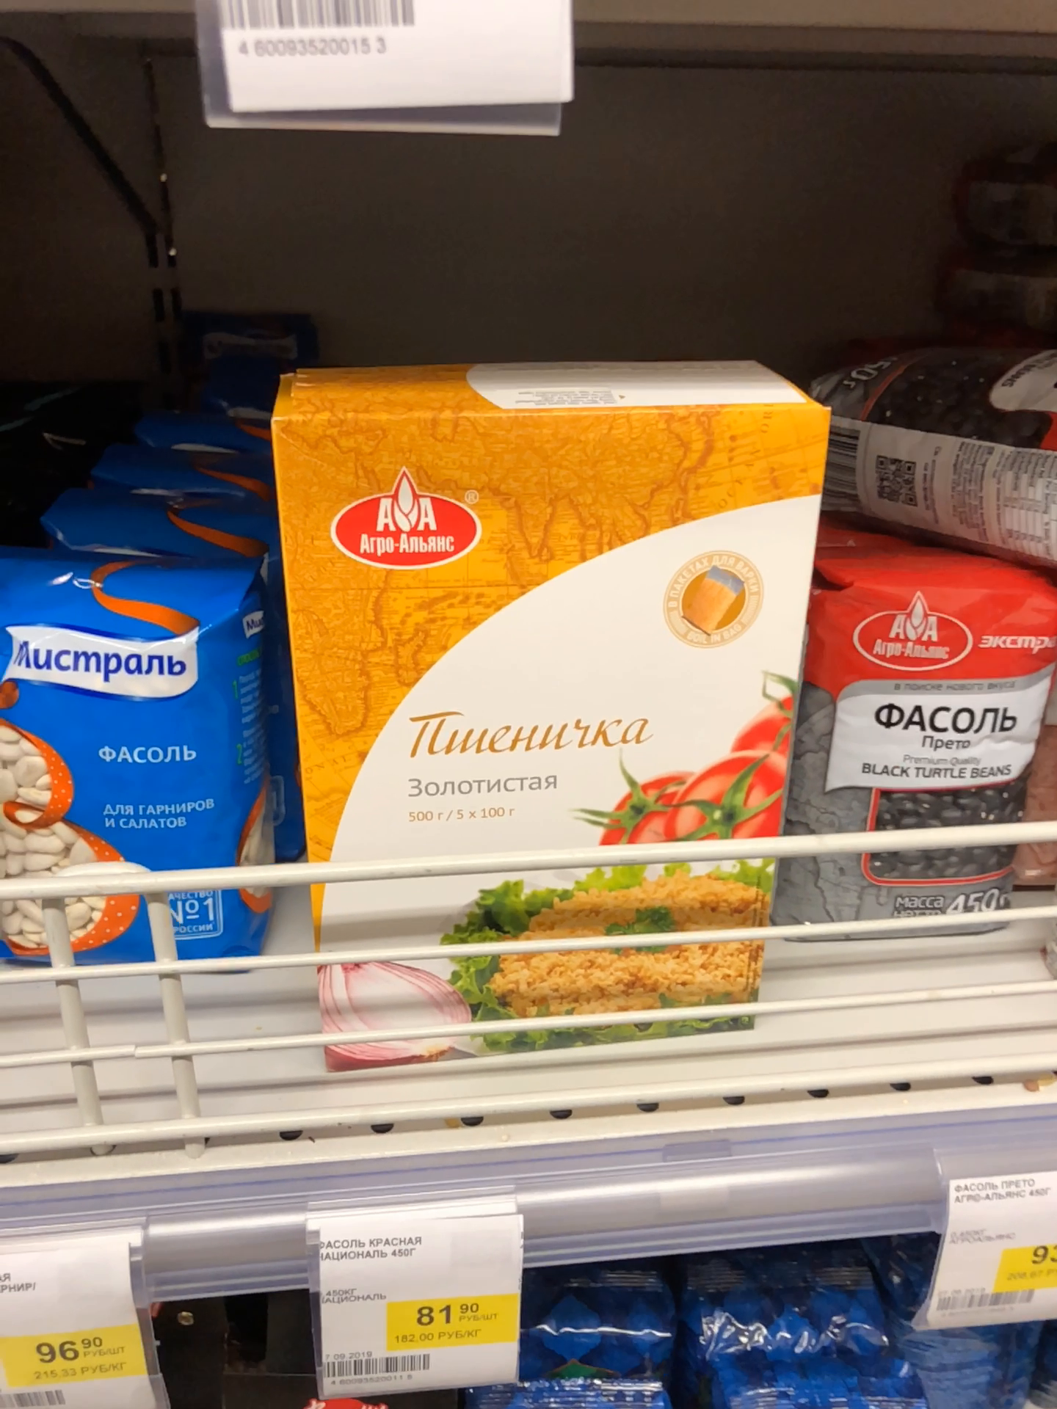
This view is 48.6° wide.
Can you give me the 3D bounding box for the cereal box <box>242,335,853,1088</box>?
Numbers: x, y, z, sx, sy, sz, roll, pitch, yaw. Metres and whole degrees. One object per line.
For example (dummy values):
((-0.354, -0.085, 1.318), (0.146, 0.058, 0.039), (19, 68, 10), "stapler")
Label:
((0.002, 0.004, 0.334), (0.140, 0.199, 0.060), (-4, 26, -8), "cereal box")
